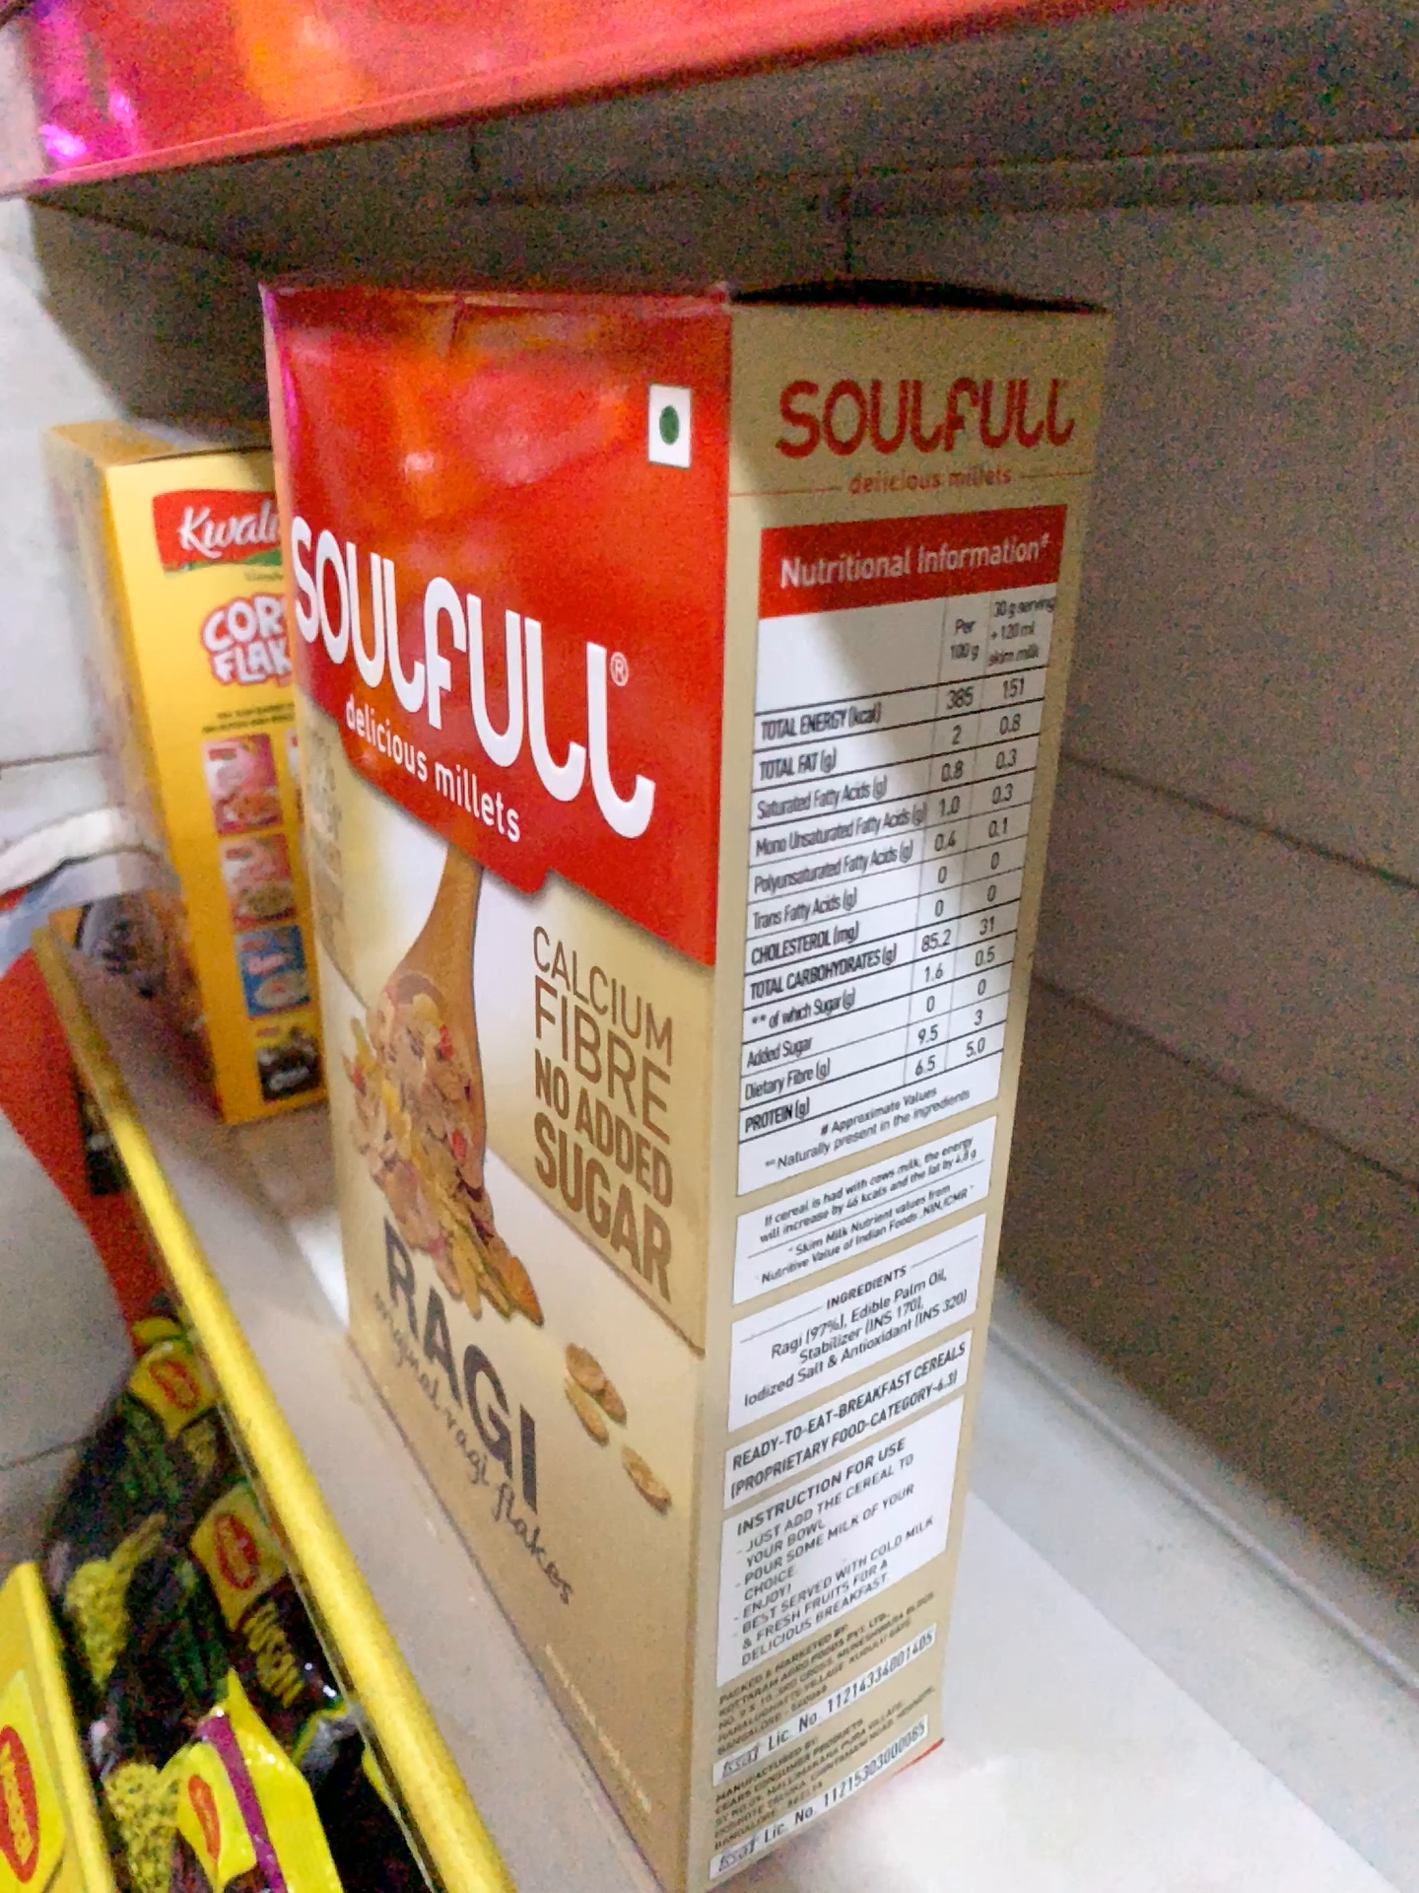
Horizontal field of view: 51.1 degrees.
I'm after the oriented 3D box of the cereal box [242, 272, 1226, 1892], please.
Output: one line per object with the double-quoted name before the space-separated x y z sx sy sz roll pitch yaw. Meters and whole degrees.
"cereal box" -0.017 0.018 0.263 0.060 0.248 0.171 -12 27 -30
